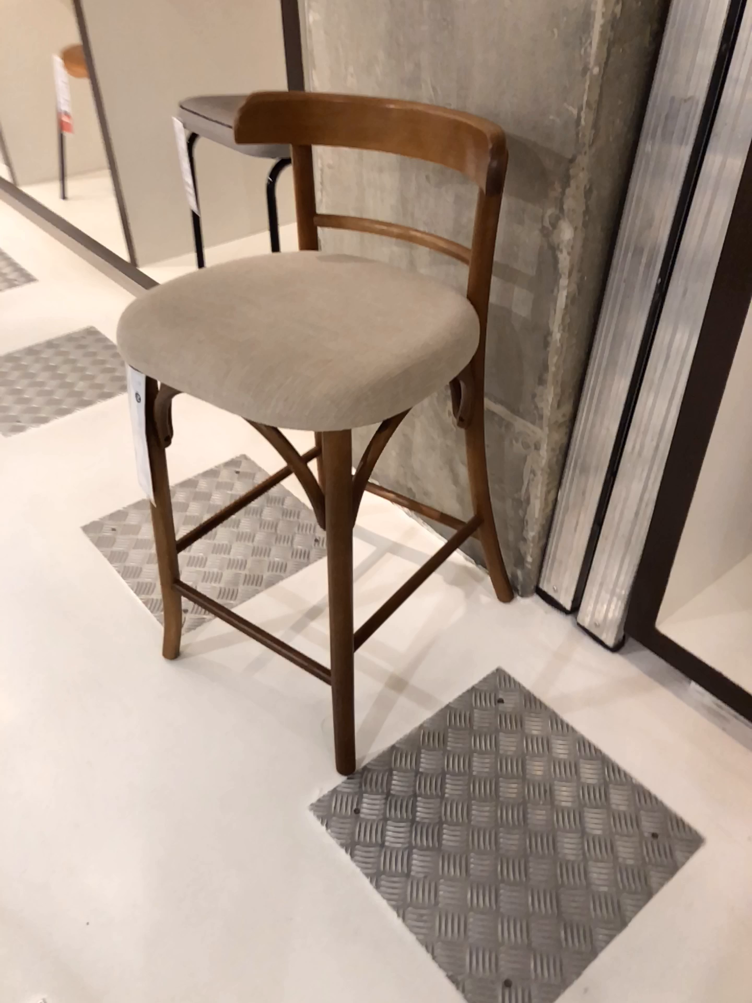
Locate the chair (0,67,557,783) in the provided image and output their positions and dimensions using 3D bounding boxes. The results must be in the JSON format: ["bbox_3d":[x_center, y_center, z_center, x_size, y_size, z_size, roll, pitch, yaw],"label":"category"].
[{"bbox_3d":[-0.111,-0.117,1.196,0.481,0.794,0.483,24,45,28],"label":"chair"}]
